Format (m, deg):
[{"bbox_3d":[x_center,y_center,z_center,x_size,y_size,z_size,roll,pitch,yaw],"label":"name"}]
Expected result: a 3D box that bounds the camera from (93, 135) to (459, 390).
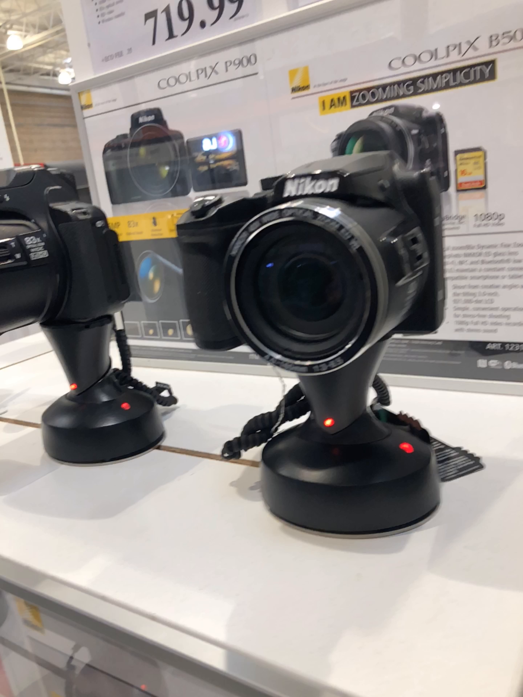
[{"bbox_3d":[0.011,-0.039,0.247,0.120,0.080,0.090,1,17,30],"label":"camera"}]
